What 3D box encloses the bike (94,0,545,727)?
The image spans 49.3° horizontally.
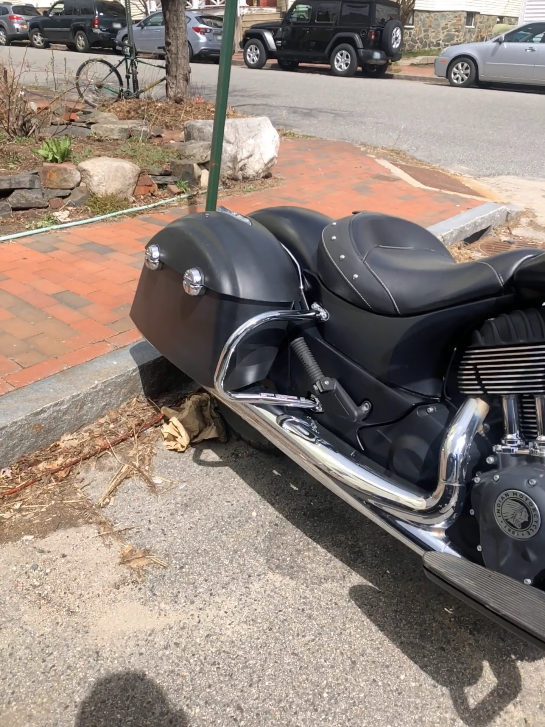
[{"bbox_3d":[0.592,0.051,1.044,0.783,1.238,2.131,-21,33,-34],"label":"bike"}]
